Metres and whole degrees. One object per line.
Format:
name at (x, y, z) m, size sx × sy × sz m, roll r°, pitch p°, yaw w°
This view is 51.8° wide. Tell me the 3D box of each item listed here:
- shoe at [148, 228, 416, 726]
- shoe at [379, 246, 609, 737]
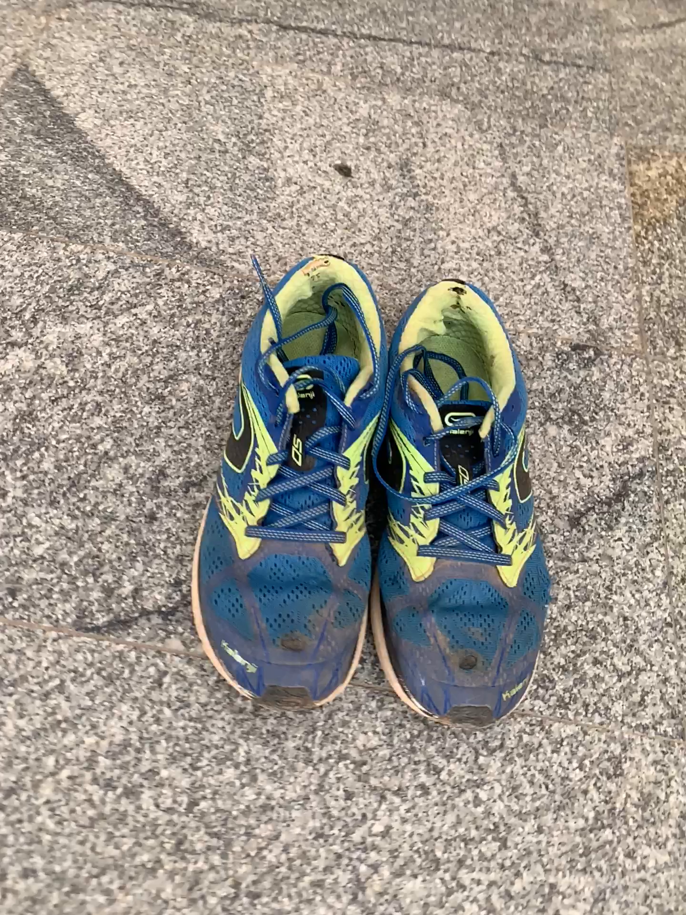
shoe at (-0.021, -0.007, 0.414) m, size 0.110 × 0.060 × 0.292 m, roll 7°, pitch 58°, yaw -1°
shoe at (0.072, 0.003, 0.413) m, size 0.100 × 0.060 × 0.292 m, roll -1°, pitch 58°, yaw 5°
